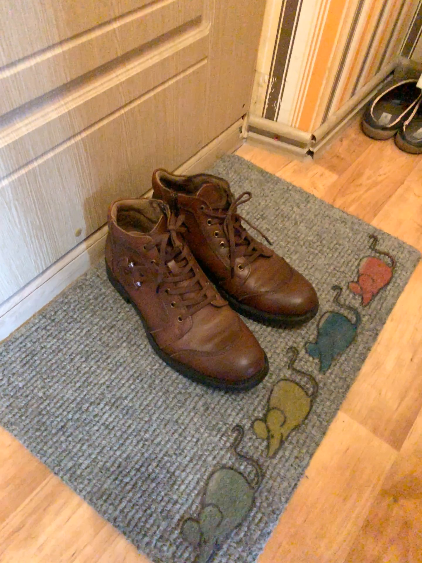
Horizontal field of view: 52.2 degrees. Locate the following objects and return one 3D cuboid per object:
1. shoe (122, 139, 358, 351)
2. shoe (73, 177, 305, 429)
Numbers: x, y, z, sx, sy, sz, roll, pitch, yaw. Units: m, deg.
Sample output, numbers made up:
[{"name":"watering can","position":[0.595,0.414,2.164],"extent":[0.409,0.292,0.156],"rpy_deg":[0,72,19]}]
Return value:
[{"name":"shoe","position":[0.027,-0.053,0.576],"extent":[0.270,0.140,0.110],"rpy_deg":[31,56,17]},{"name":"shoe","position":[-0.037,0.019,0.519],"extent":[0.110,0.140,0.260],"rpy_deg":[-33,62,-27]}]
